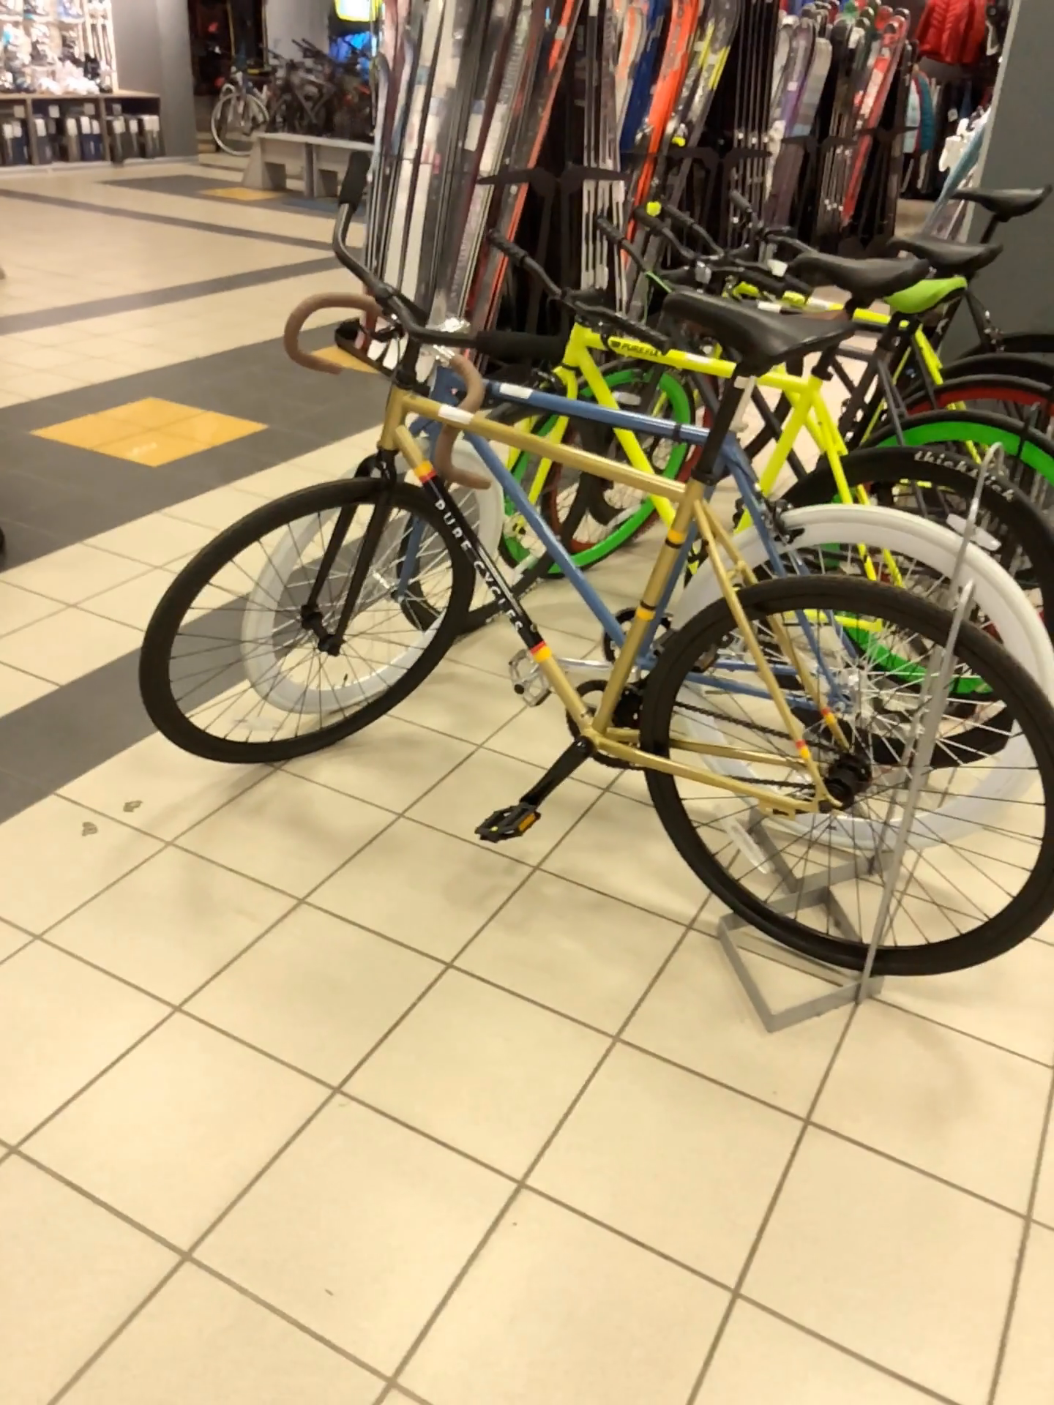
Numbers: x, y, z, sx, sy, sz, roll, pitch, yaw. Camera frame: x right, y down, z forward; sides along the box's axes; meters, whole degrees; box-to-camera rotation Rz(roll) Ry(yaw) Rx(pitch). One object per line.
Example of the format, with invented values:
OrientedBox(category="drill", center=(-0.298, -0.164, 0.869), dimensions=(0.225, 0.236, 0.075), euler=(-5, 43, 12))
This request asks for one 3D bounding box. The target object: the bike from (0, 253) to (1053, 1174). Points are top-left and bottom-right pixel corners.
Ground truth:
OrientedBox(category="bike", center=(0.021, -0.048, 1.784), dimensions=(1.463, 1.092, 0.675), euler=(8, 28, 18))
